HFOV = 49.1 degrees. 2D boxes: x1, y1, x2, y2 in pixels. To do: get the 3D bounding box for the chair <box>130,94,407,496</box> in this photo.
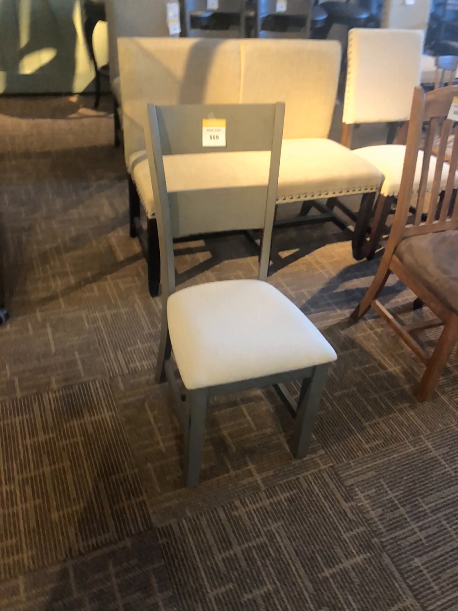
[{"bbox_3d":[0.005,-0.034,1.502,0.461,0.965,0.632,-8,40,-19],"label":"chair"}]
